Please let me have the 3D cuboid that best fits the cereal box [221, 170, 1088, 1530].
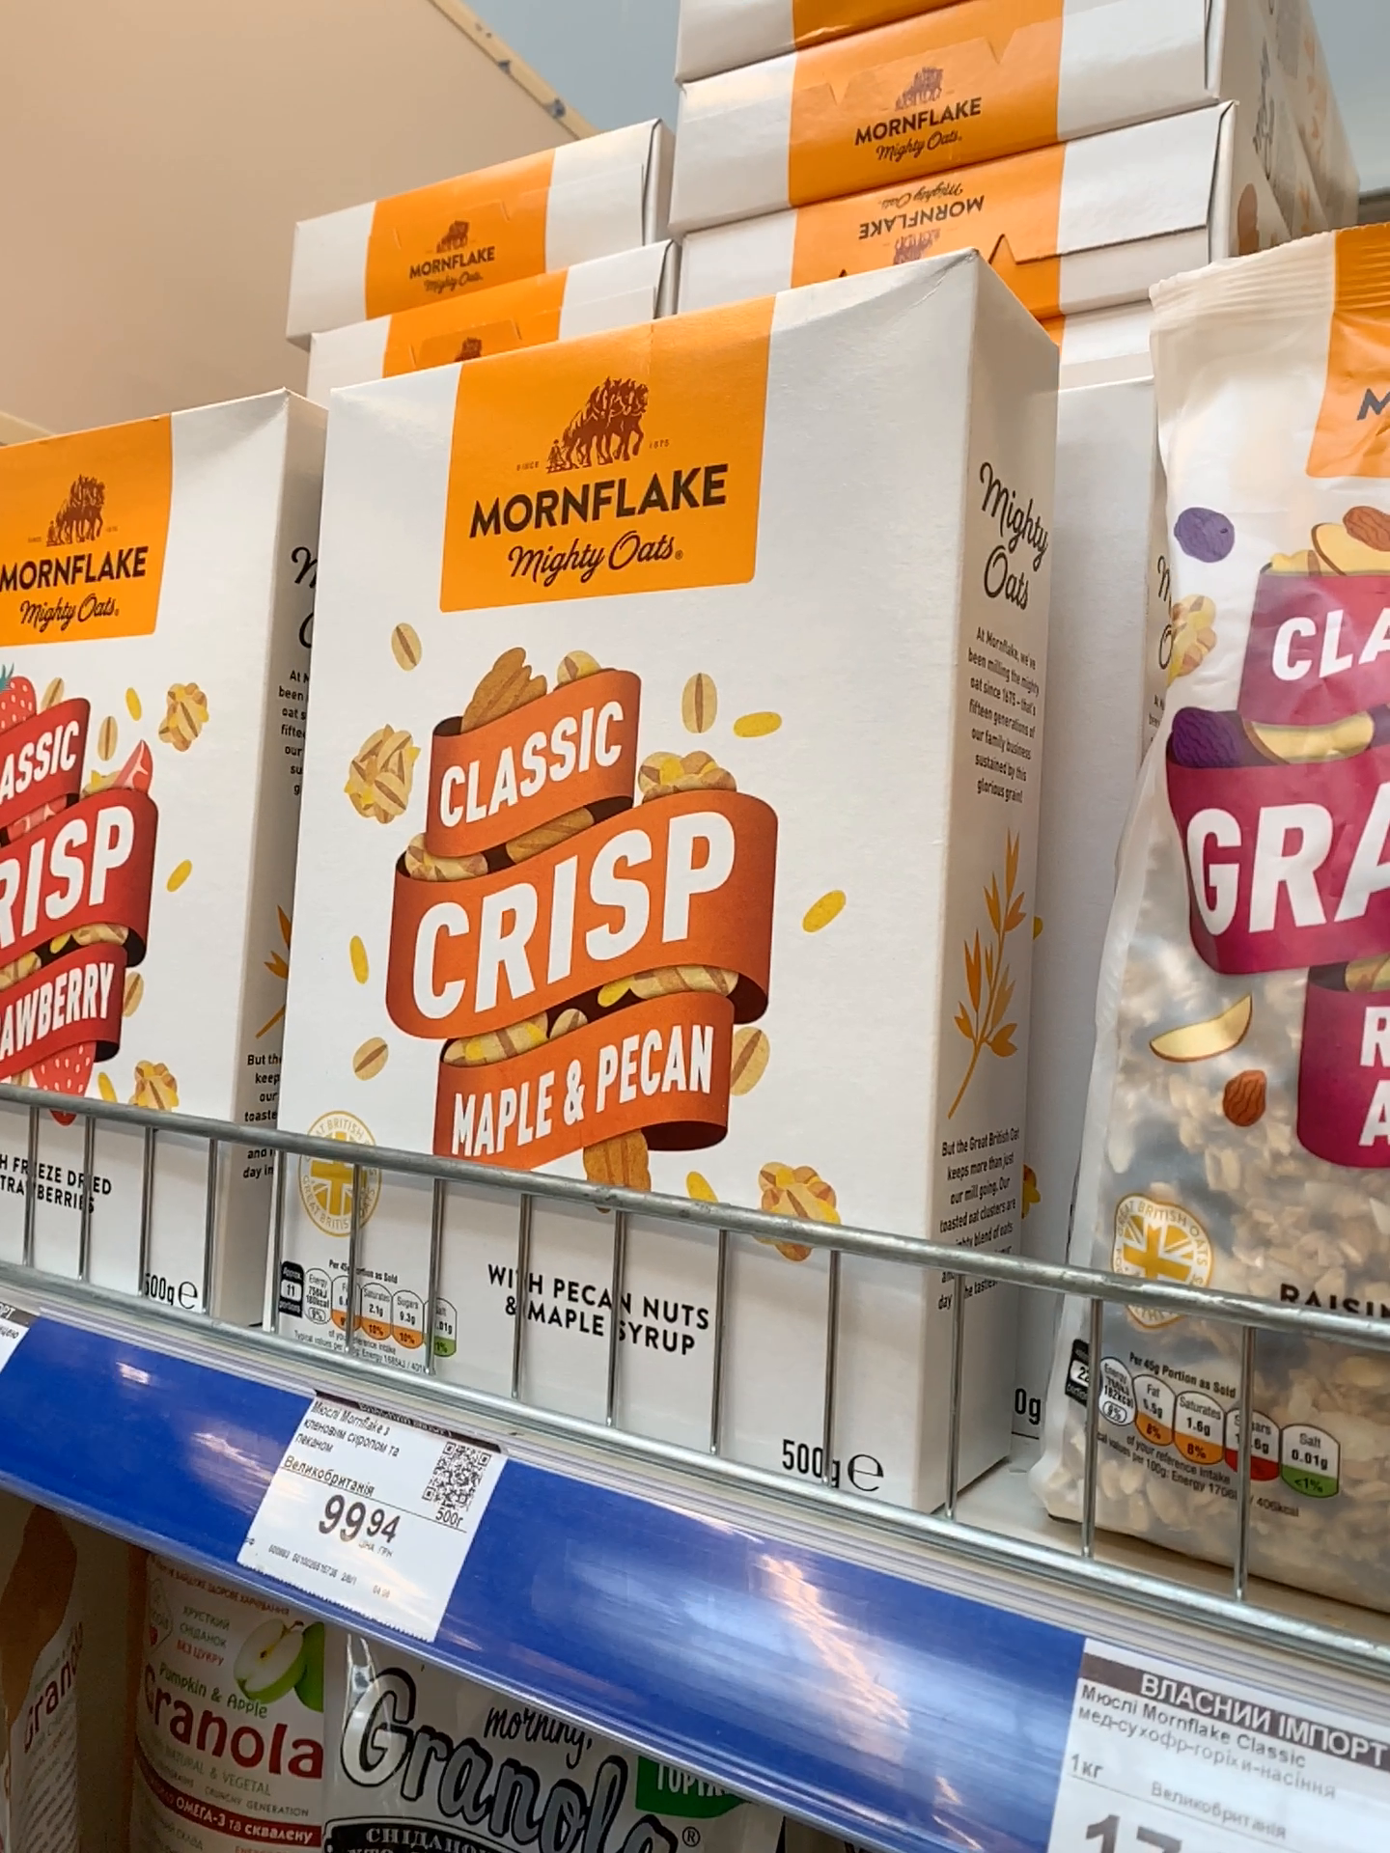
[{"bbox_3d":[-0.016,-0.019,0.340,0.190,0.250,0.060,2,-2,32],"label":"cereal box"}]
